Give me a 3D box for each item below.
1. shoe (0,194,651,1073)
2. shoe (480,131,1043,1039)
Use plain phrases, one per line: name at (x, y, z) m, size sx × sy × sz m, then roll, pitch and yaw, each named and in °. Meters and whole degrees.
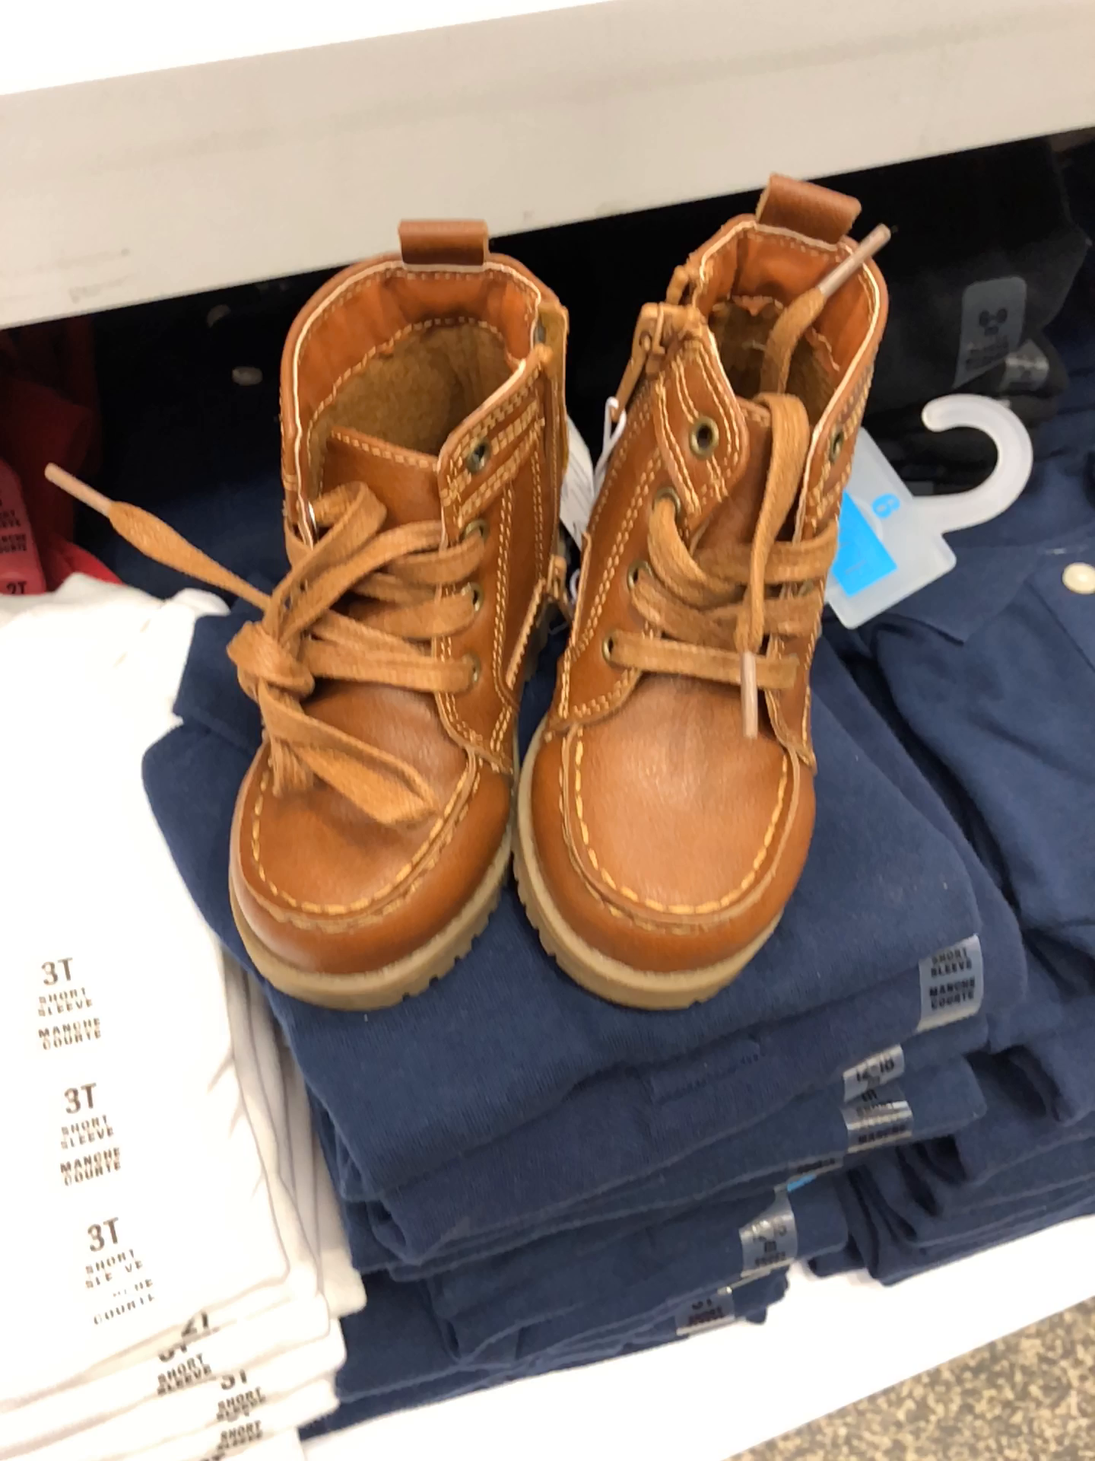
shoe at (-0.034, -0.024, 0.268) m, size 0.080 × 0.101 × 0.151 m, roll 11°, pitch 57°, yaw 12°
shoe at (0.041, -0.033, 0.270) m, size 0.080 × 0.101 × 0.161 m, roll 10°, pitch 56°, yaw 0°
